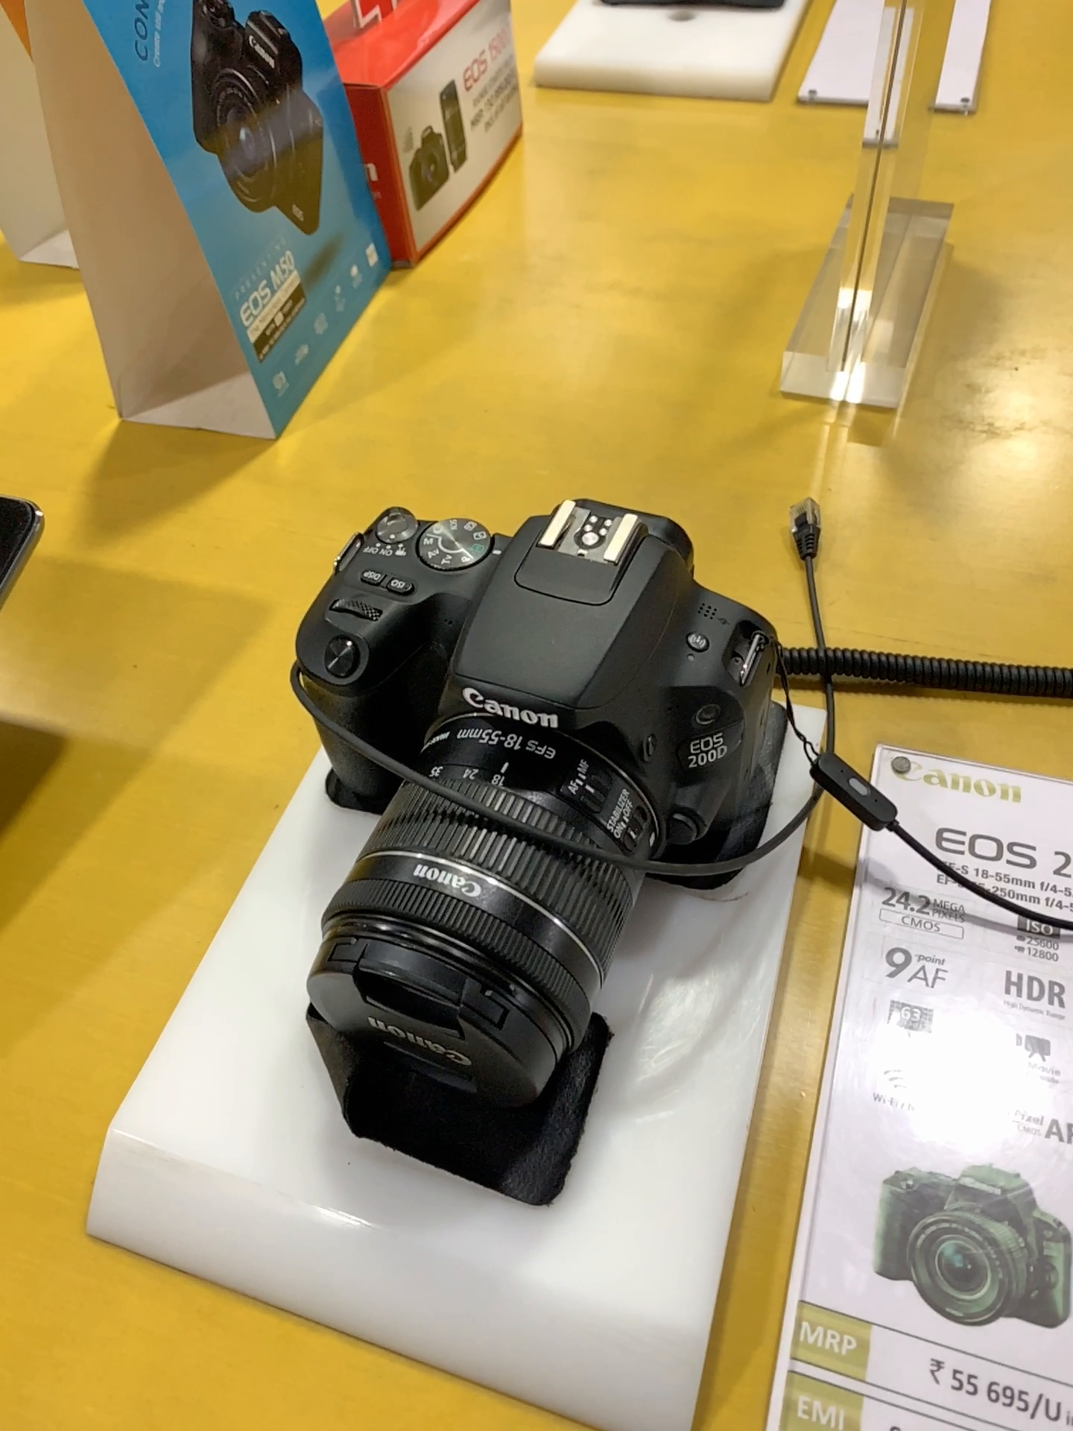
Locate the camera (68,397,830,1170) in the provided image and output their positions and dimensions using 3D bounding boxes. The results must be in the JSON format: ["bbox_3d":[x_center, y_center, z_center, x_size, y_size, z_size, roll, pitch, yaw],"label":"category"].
[{"bbox_3d":[-0.007,0.004,0.278,0.120,0.070,0.160,14,53,16],"label":"camera"}]
